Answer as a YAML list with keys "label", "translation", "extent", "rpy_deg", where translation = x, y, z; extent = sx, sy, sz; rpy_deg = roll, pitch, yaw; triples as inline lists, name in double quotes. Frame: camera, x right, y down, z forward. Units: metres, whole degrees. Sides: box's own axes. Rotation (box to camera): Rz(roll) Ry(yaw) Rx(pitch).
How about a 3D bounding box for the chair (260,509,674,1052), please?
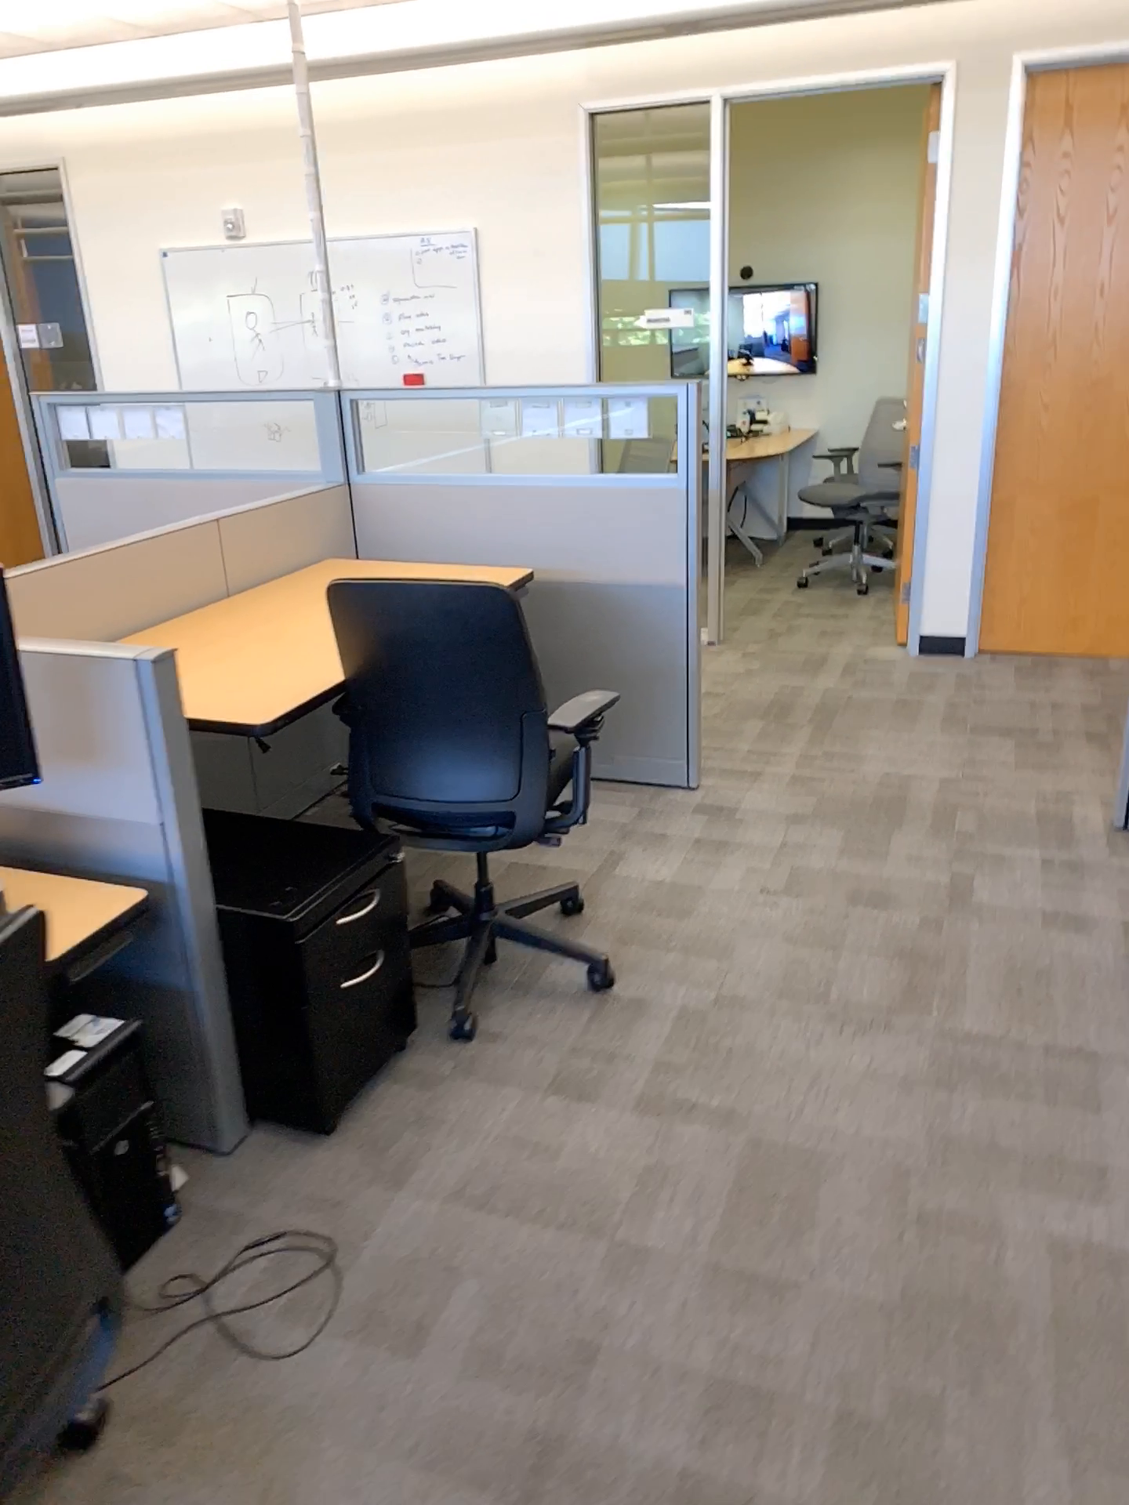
- label: "chair"
  translation: [-0.158, 0.002, 2.688]
  extent: [0.631, 0.995, 0.763]
  rpy_deg: [6, 22, 21]

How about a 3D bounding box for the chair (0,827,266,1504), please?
- label: "chair"
  translation: [-0.759, 0.678, 1.307]
  extent: [0.461, 0.995, 0.542]
  rpy_deg: [6, 22, 21]
